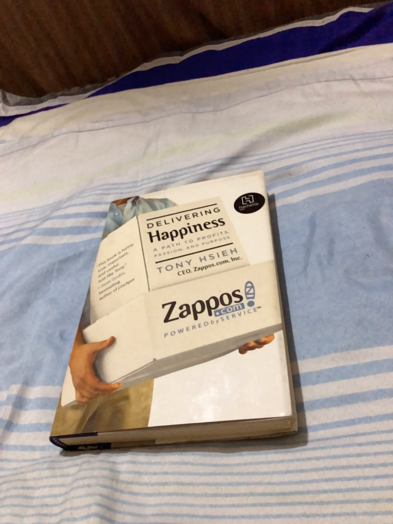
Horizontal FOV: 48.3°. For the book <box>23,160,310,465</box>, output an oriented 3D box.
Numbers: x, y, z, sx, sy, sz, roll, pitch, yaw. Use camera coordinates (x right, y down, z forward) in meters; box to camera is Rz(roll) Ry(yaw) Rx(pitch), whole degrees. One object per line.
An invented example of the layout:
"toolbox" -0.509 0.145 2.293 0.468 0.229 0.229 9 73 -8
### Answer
"book" -0.014 0.024 0.352 0.170 0.050 0.241 -9 45 13
